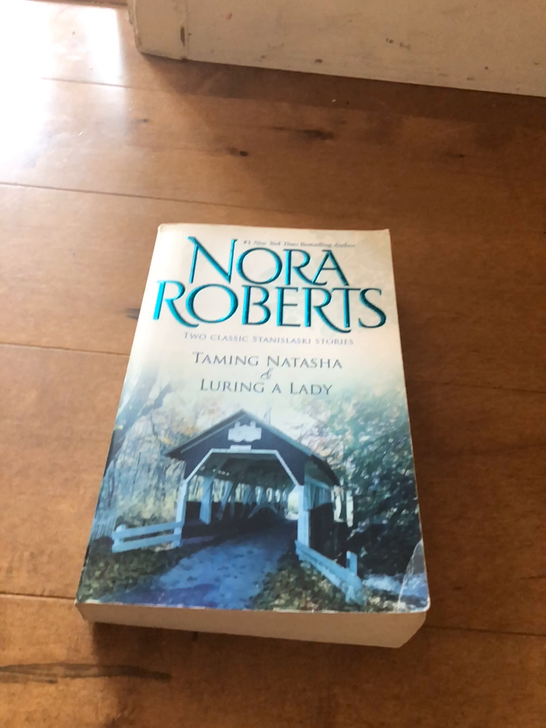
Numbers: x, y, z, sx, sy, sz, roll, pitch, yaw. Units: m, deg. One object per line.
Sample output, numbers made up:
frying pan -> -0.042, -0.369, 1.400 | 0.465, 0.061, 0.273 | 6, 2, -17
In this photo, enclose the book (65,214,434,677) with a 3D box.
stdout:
book -> -0.005, 0.022, 0.292 | 0.130, 0.040, 0.221 | 4, 55, -2
